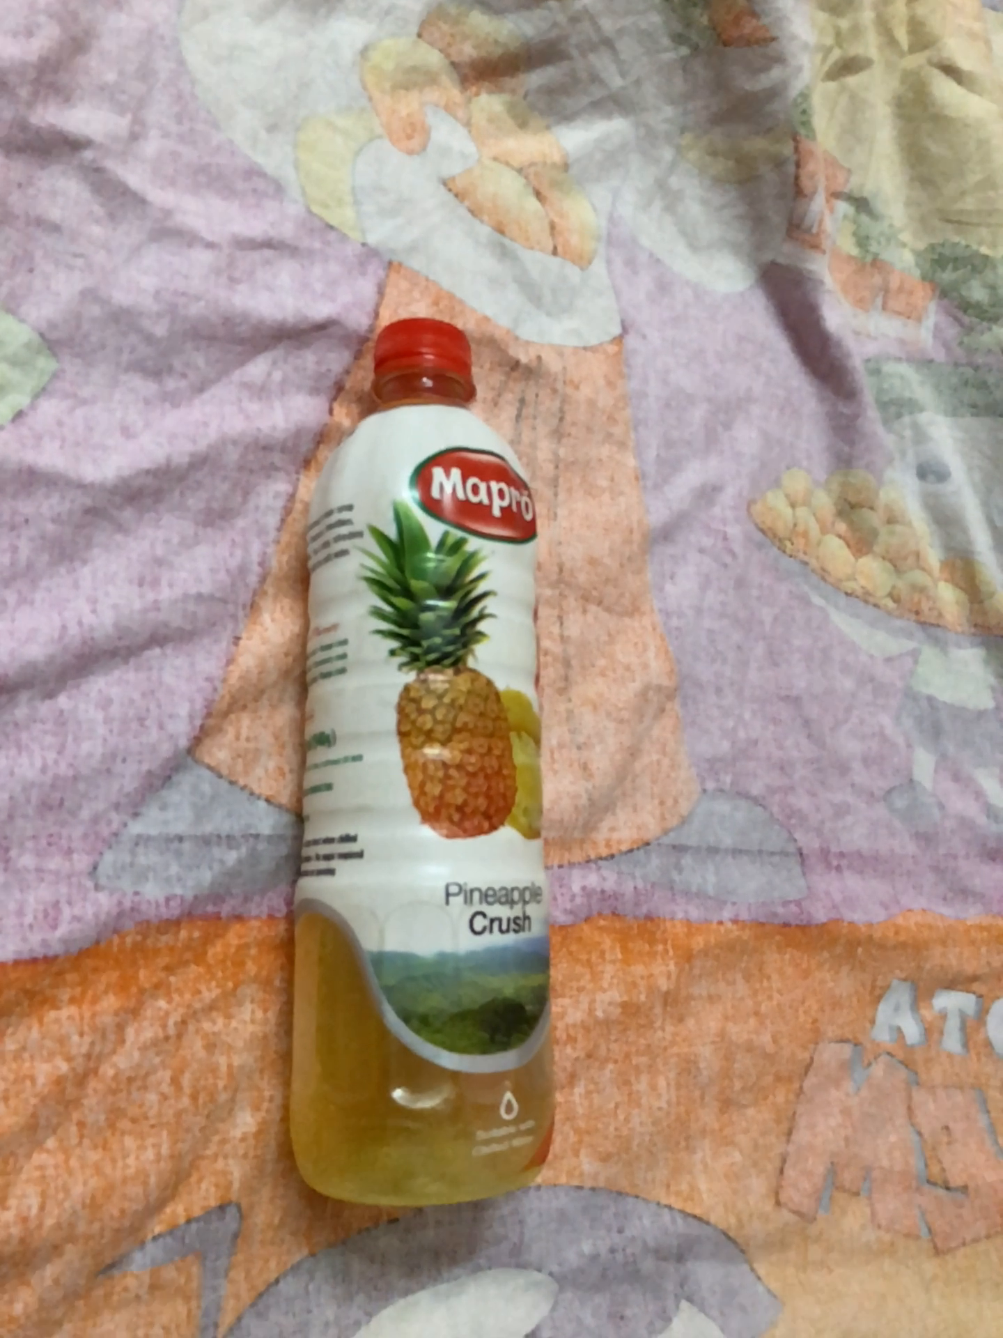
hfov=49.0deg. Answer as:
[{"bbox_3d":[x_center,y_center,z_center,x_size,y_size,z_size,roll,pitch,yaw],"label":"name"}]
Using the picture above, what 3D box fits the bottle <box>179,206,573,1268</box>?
[{"bbox_3d":[-0.031,0.014,0.307,0.080,0.060,0.250,9,78,-40],"label":"bottle"}]
